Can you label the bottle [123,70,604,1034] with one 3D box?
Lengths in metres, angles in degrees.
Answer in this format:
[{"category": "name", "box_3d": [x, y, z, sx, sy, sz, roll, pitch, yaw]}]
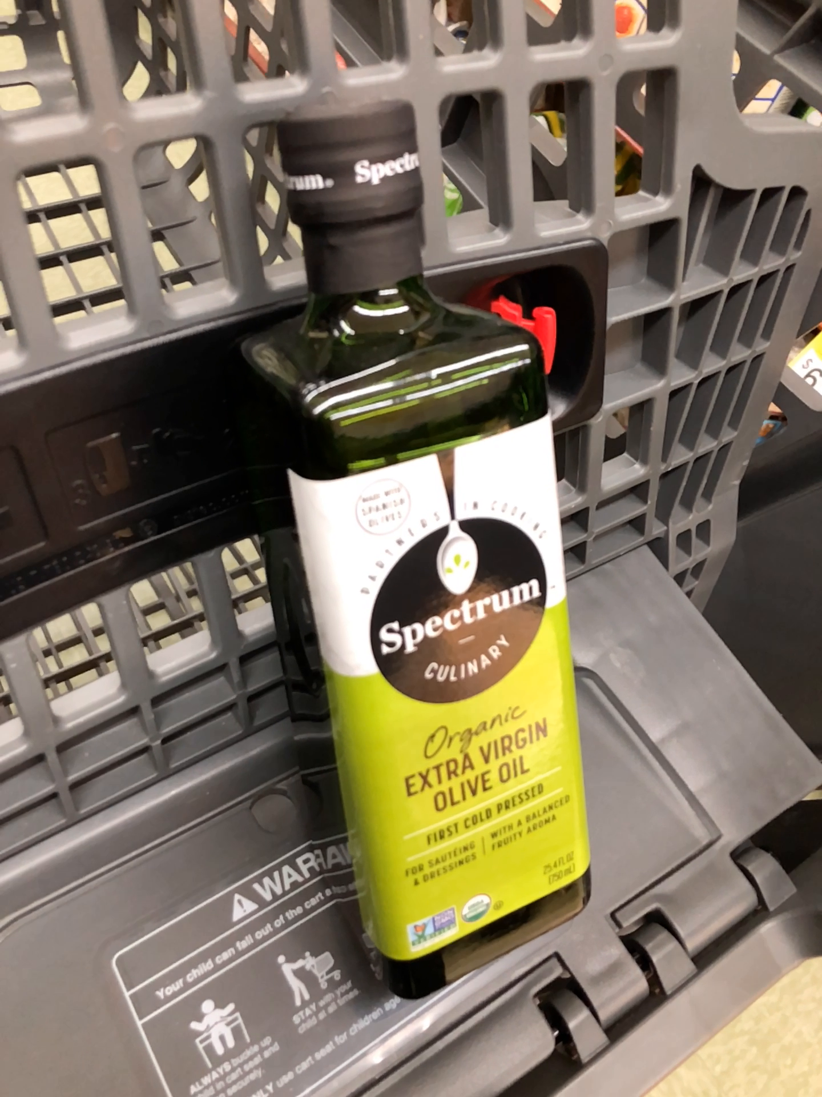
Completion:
[{"category": "bottle", "box_3d": [-0.003, 0.009, 0.262, 0.080, 0.250, 0.076, -6, 27, 3]}]
